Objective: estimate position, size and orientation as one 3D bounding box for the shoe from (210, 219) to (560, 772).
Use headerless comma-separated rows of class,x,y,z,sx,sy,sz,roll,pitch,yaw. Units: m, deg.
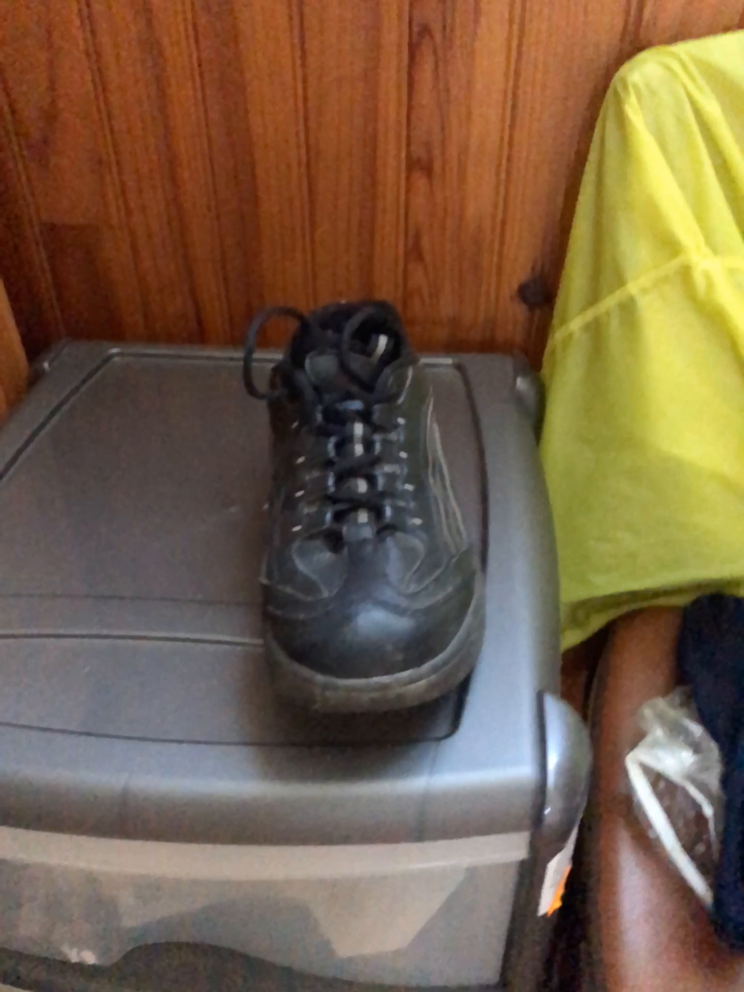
shoe,-0.002,-0.024,0.405,0.110,0.129,0.272,-2,37,-2
